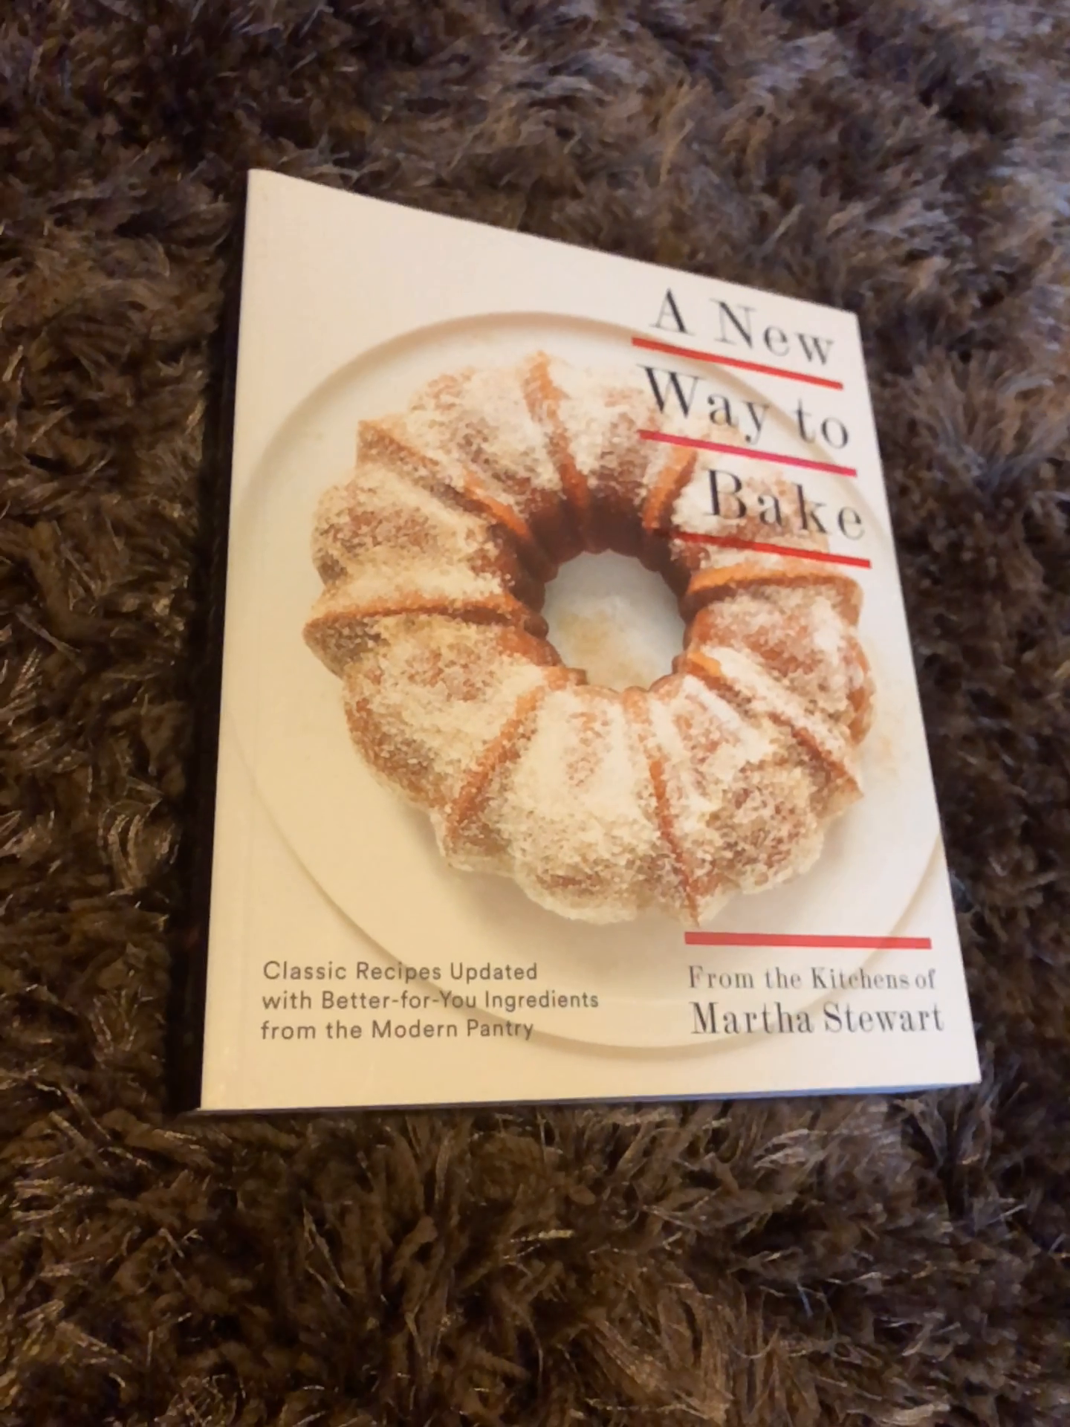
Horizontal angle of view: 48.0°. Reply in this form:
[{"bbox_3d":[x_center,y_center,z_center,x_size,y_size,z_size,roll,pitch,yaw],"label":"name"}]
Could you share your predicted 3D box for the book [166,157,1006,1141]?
[{"bbox_3d":[0.011,-0.017,0.312,0.192,0.040,0.229,5,68,-22],"label":"book"}]
